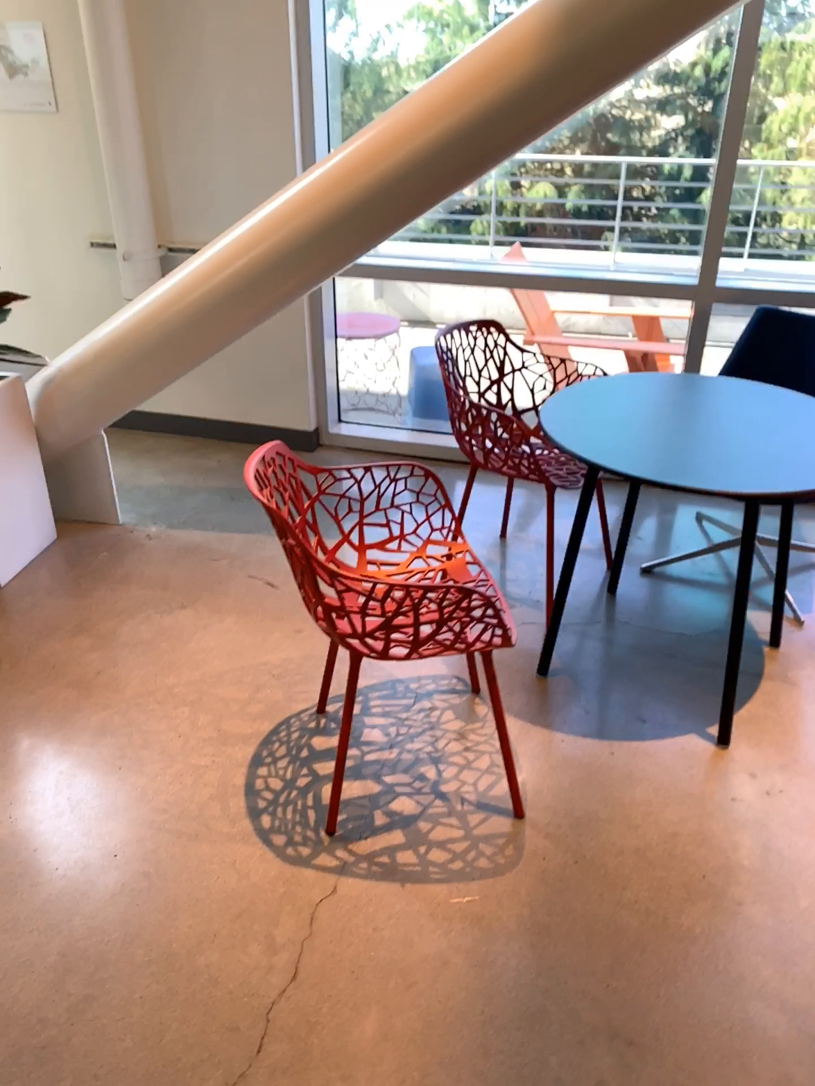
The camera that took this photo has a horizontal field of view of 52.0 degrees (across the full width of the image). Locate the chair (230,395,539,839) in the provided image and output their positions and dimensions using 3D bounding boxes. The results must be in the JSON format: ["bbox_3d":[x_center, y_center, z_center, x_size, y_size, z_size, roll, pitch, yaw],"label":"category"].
[{"bbox_3d":[-0.069,0.140,1.853,0.530,0.765,0.564,-3,29,-6],"label":"chair"}]

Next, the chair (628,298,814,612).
[{"bbox_3d":[1.141,-0.312,2.682,0.511,0.765,0.563,-24,37,-37],"label":"chair"}]

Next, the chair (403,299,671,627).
[{"bbox_3d":[0.373,-0.279,2.584,0.561,0.765,0.532,-25,37,-38],"label":"chair"}]
